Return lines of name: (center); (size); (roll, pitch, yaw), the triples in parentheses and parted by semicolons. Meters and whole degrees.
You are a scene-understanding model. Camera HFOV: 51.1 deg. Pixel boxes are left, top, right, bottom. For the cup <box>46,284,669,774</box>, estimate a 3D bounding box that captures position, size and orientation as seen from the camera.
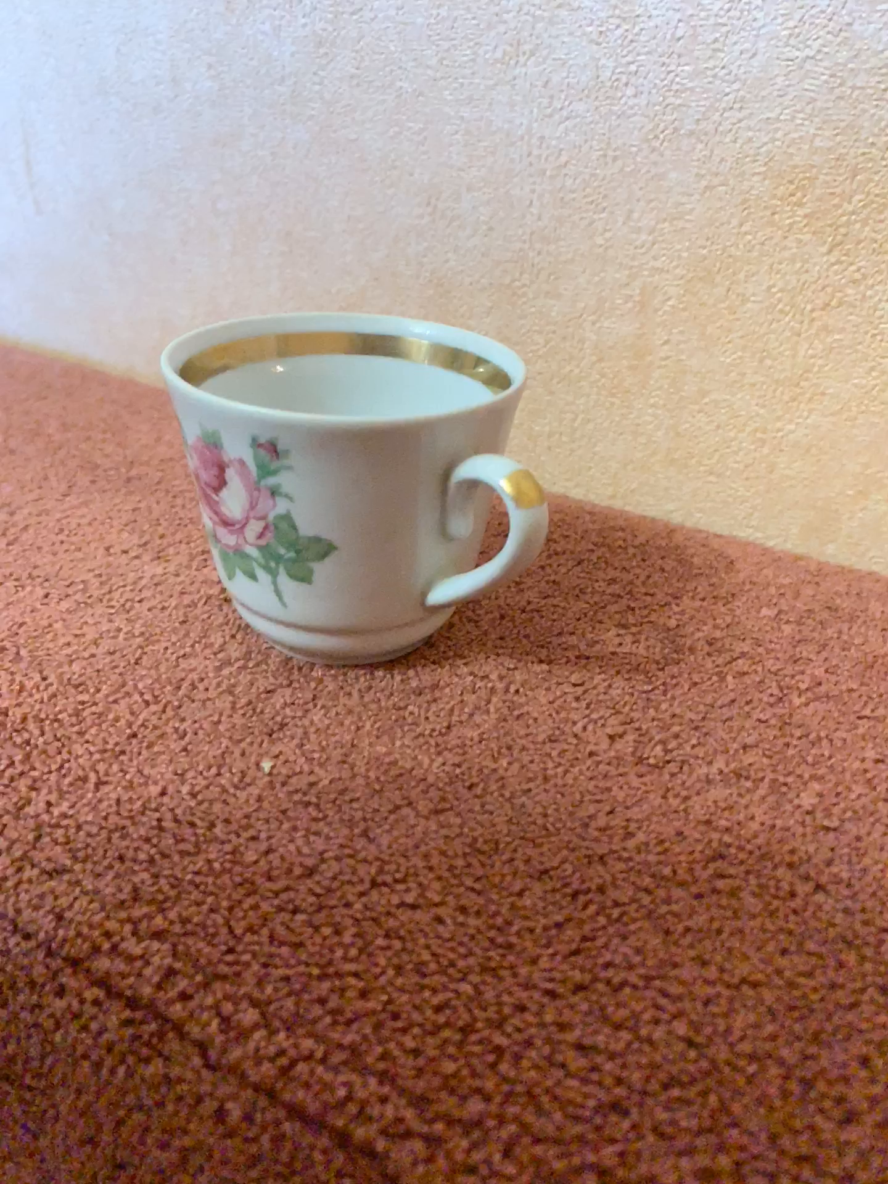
cup: (-0.016, -0.021, 0.172); (0.086, 0.047, 0.067); (25, 38, 35)
